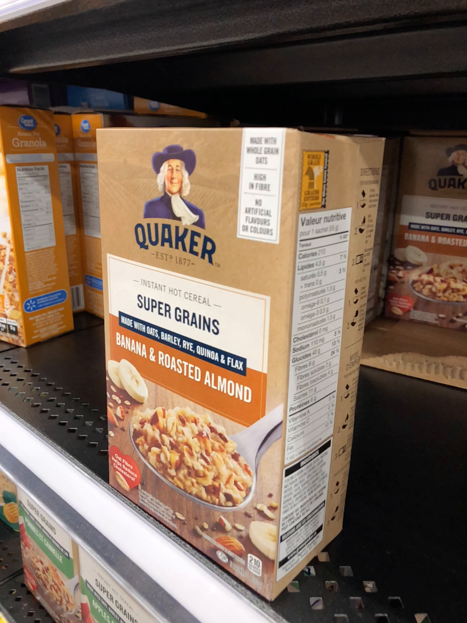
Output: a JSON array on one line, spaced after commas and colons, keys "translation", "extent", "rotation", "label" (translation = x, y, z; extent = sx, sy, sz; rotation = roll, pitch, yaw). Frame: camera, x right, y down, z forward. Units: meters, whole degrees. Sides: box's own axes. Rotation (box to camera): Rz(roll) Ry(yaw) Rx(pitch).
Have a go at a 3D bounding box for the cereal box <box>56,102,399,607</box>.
[{"translation": [-0.009, 0.006, 0.245], "extent": [0.130, 0.189, 0.070], "rotation": [16, 23, 39], "label": "cereal box"}]
